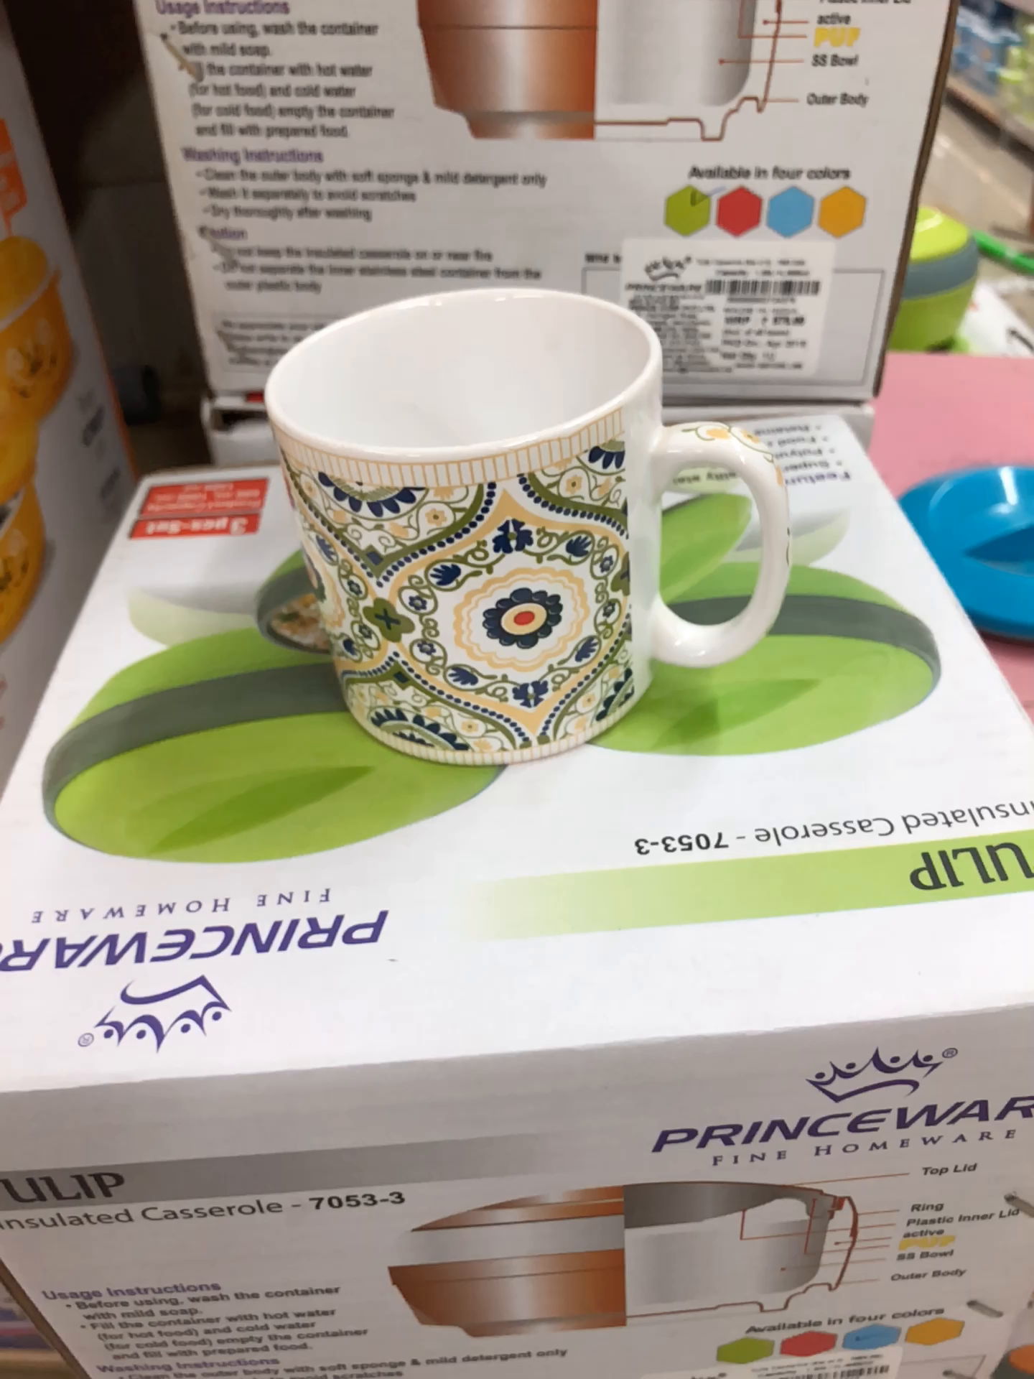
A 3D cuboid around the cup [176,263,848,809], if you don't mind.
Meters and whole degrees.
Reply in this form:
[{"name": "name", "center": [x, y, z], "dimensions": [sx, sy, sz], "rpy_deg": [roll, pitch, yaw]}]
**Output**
[{"name": "cup", "center": [0.007, -0.035, 0.236], "dimensions": [0.110, 0.079, 0.070], "rpy_deg": [4, 37, 14]}]
